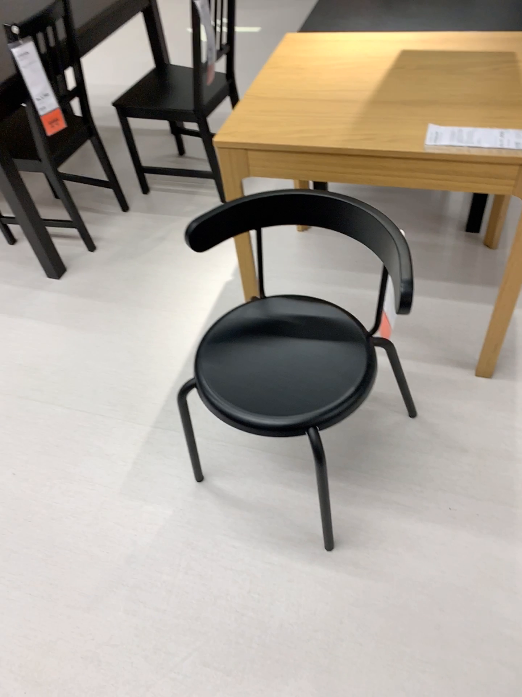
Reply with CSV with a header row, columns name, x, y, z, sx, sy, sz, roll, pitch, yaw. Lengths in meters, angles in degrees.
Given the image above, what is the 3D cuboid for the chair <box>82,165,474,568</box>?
name,x,y,z,sx,sy,sz,roll,pitch,yaw
chair,0.082,0.022,1.327,0.591,0.598,0.611,21,55,24
